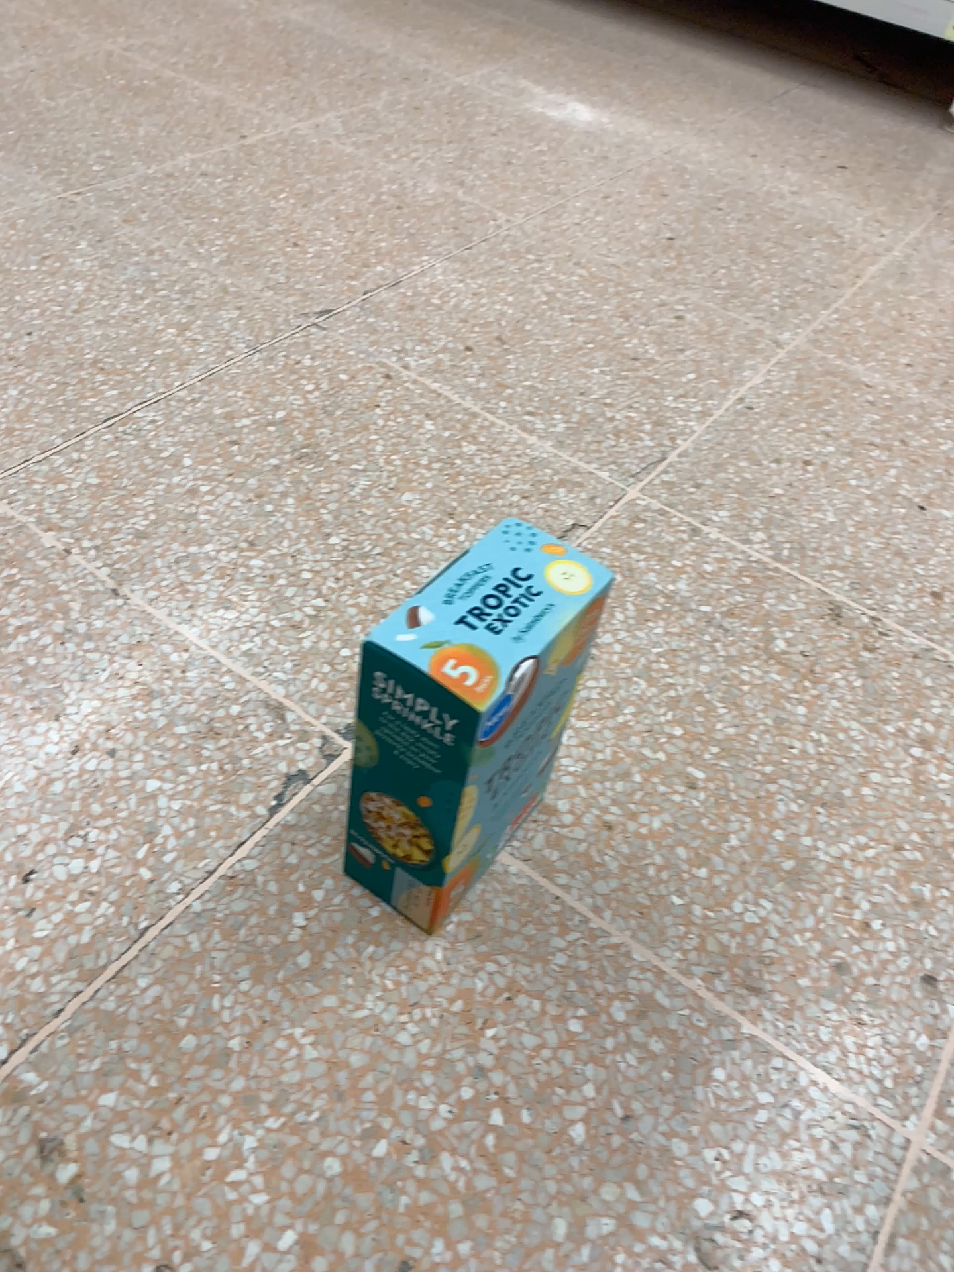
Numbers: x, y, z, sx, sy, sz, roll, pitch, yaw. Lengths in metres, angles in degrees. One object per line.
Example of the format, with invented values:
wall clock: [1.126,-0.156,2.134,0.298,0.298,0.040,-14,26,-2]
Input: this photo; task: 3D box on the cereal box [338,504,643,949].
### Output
cereal box: [0.001,0.040,0.419,0.060,0.149,0.111,30,48,19]
